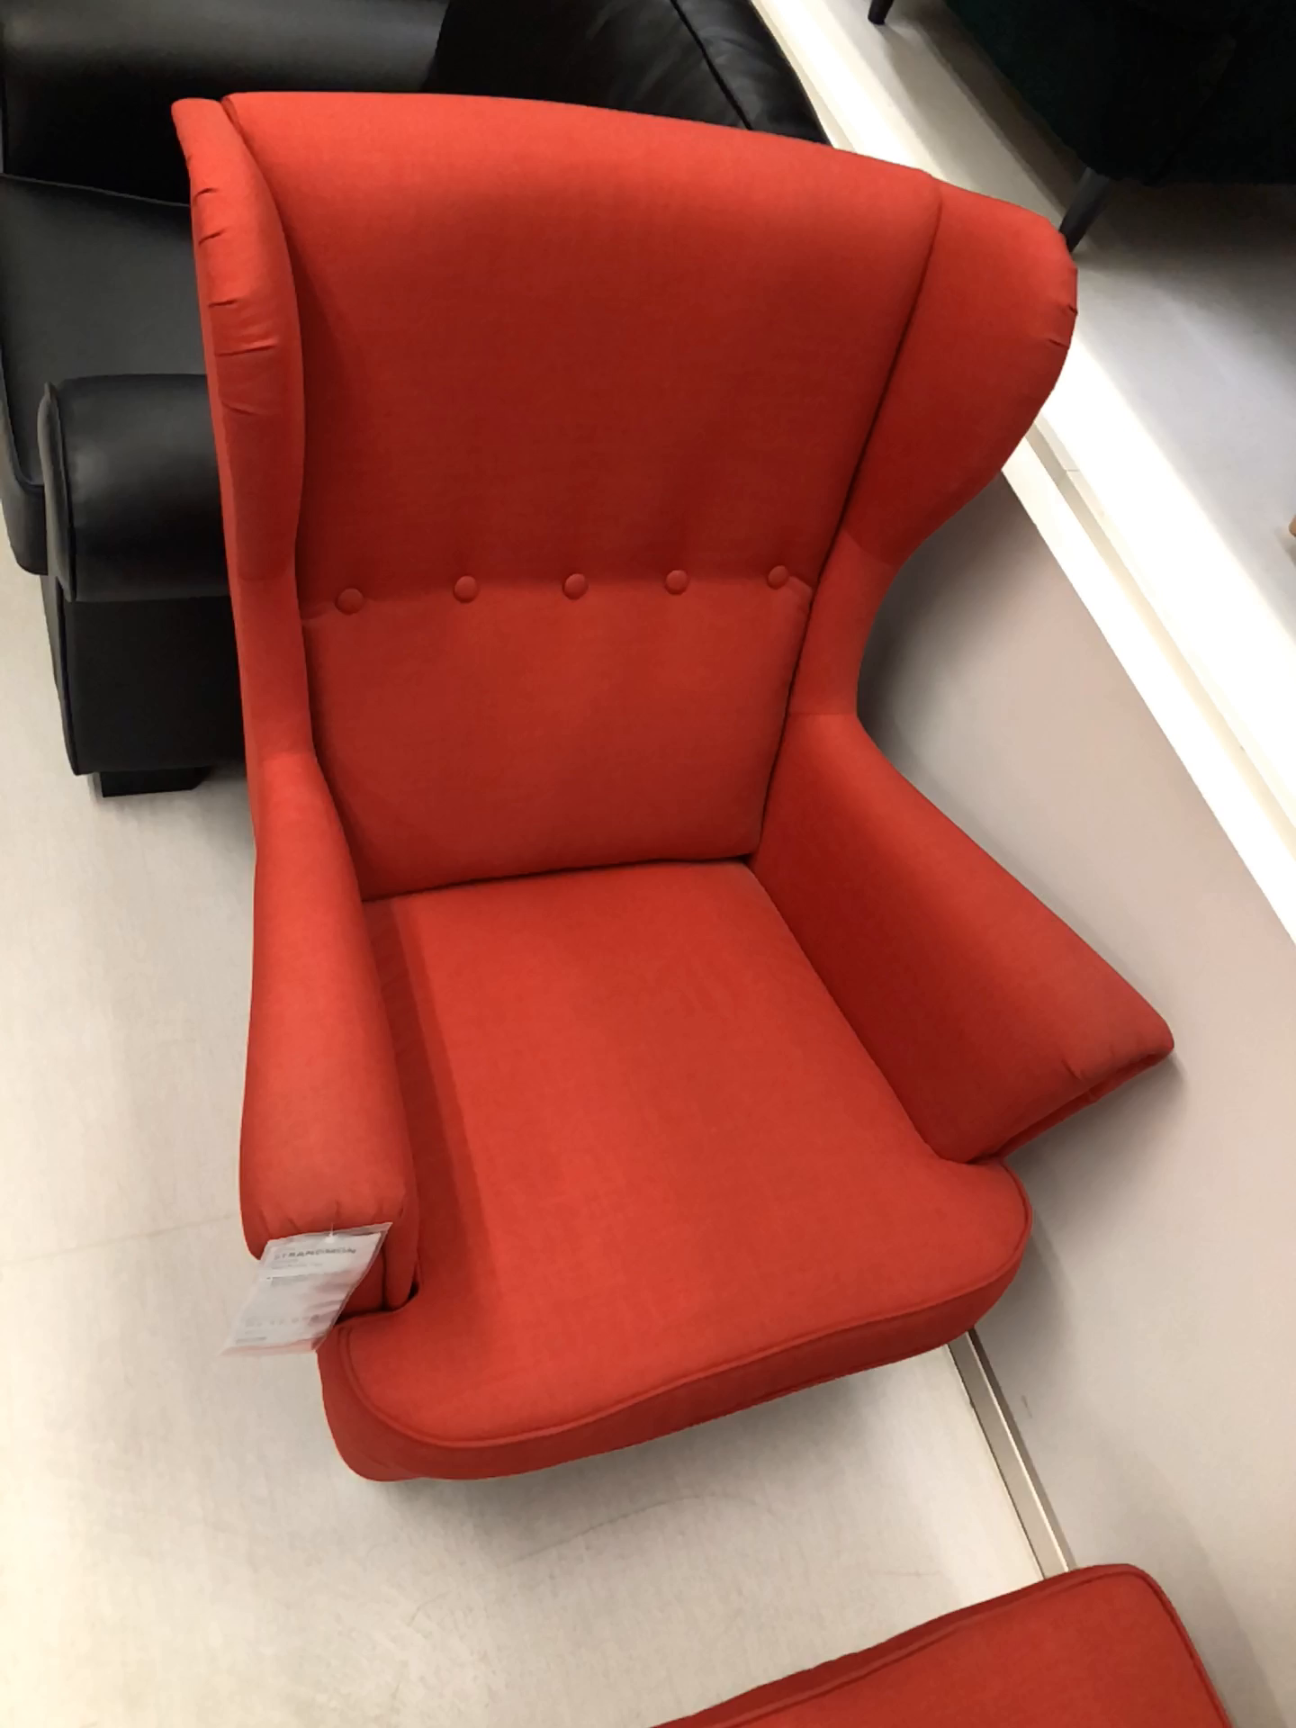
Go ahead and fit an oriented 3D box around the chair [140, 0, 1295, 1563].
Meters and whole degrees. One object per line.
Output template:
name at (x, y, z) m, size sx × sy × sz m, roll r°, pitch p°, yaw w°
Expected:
chair at (0.066, -0.024, 1.316) m, size 0.902 × 0.975 × 0.843 m, roll -7°, pitch 59°, yaw -24°
